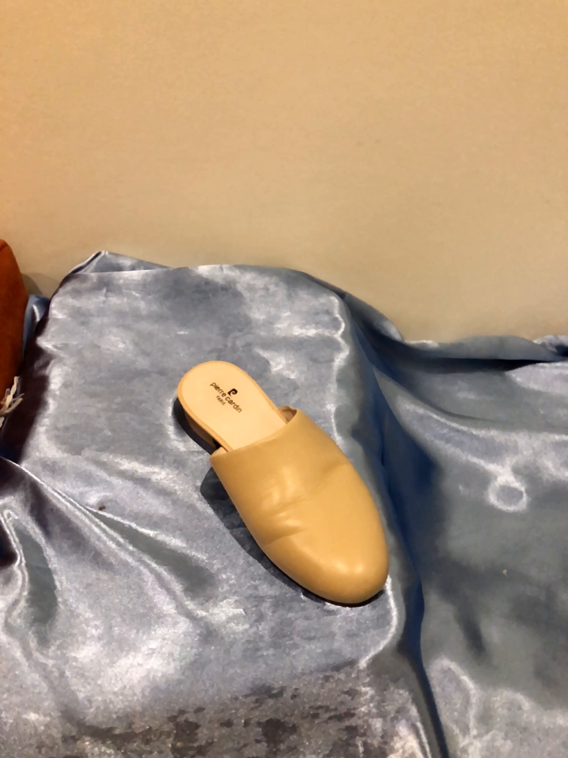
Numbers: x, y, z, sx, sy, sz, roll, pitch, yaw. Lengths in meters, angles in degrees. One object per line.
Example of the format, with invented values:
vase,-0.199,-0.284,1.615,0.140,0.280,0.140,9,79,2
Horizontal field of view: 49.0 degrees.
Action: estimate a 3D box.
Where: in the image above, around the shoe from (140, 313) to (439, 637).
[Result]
shoe,-0.012,0.051,0.477,0.095,0.060,0.261,-21,45,-24
